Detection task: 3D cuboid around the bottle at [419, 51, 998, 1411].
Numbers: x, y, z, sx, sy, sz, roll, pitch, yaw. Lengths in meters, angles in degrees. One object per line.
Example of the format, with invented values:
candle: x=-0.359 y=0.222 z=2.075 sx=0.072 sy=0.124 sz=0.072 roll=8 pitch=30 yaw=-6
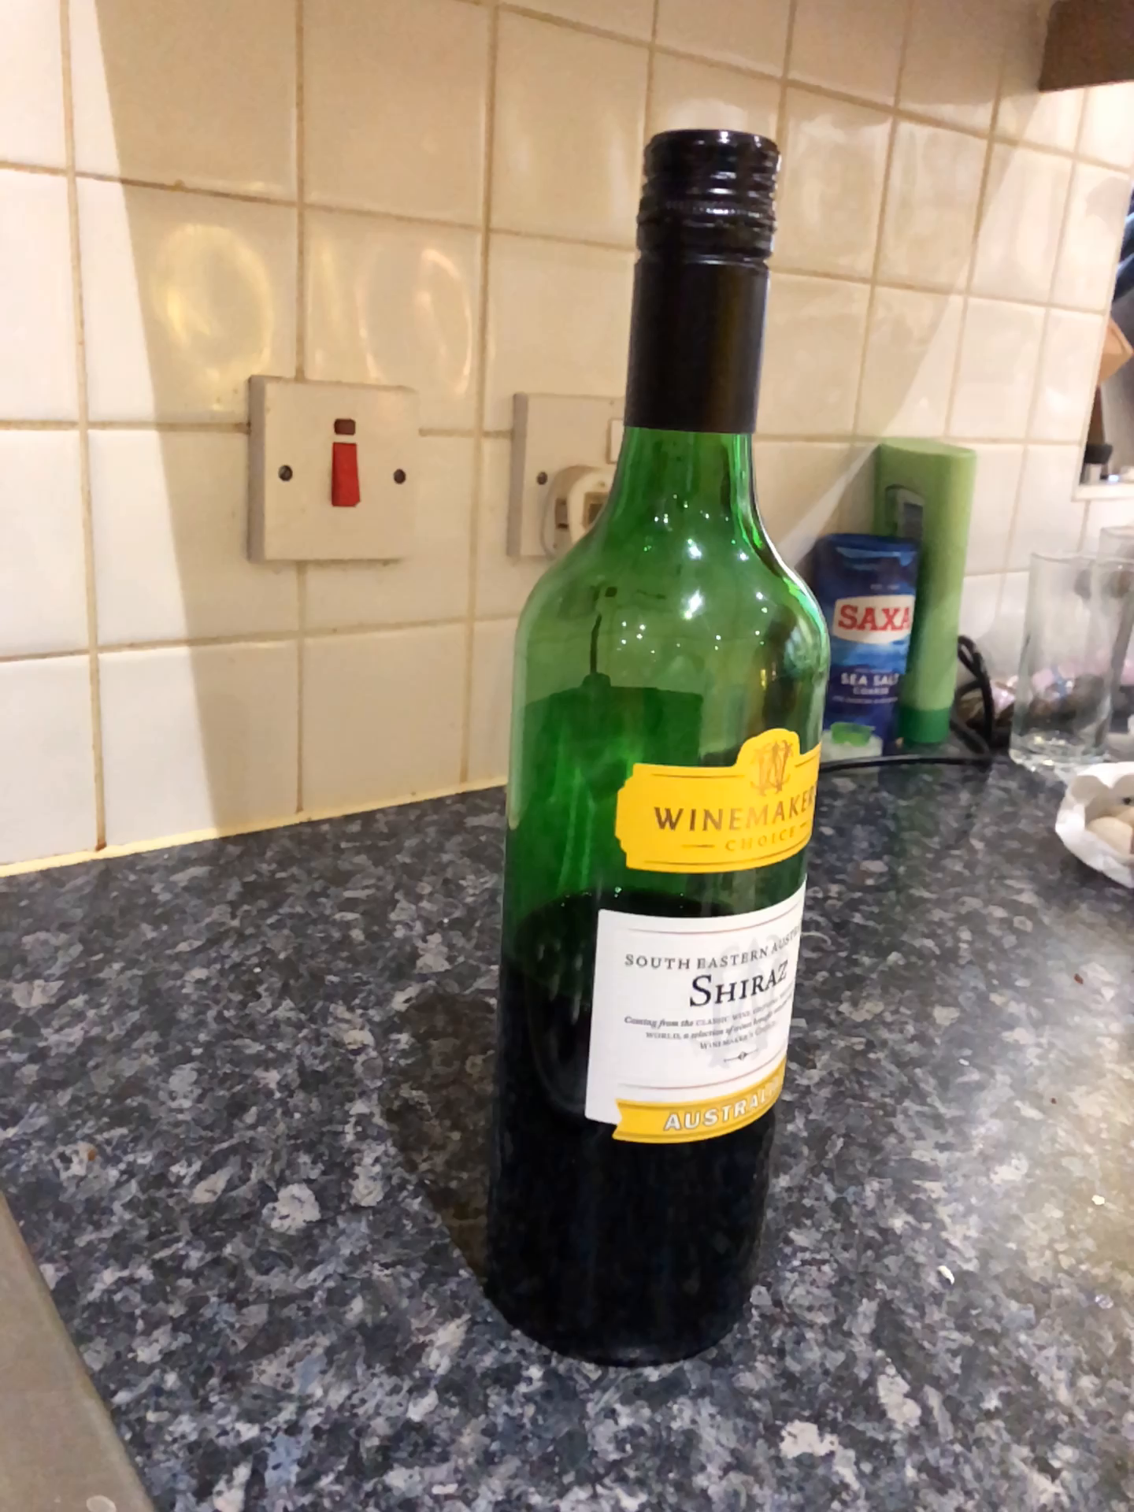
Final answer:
bottle: x=0.023 y=0.000 z=0.301 sx=0.080 sy=0.279 sz=0.080 roll=3 pitch=17 yaw=-1
